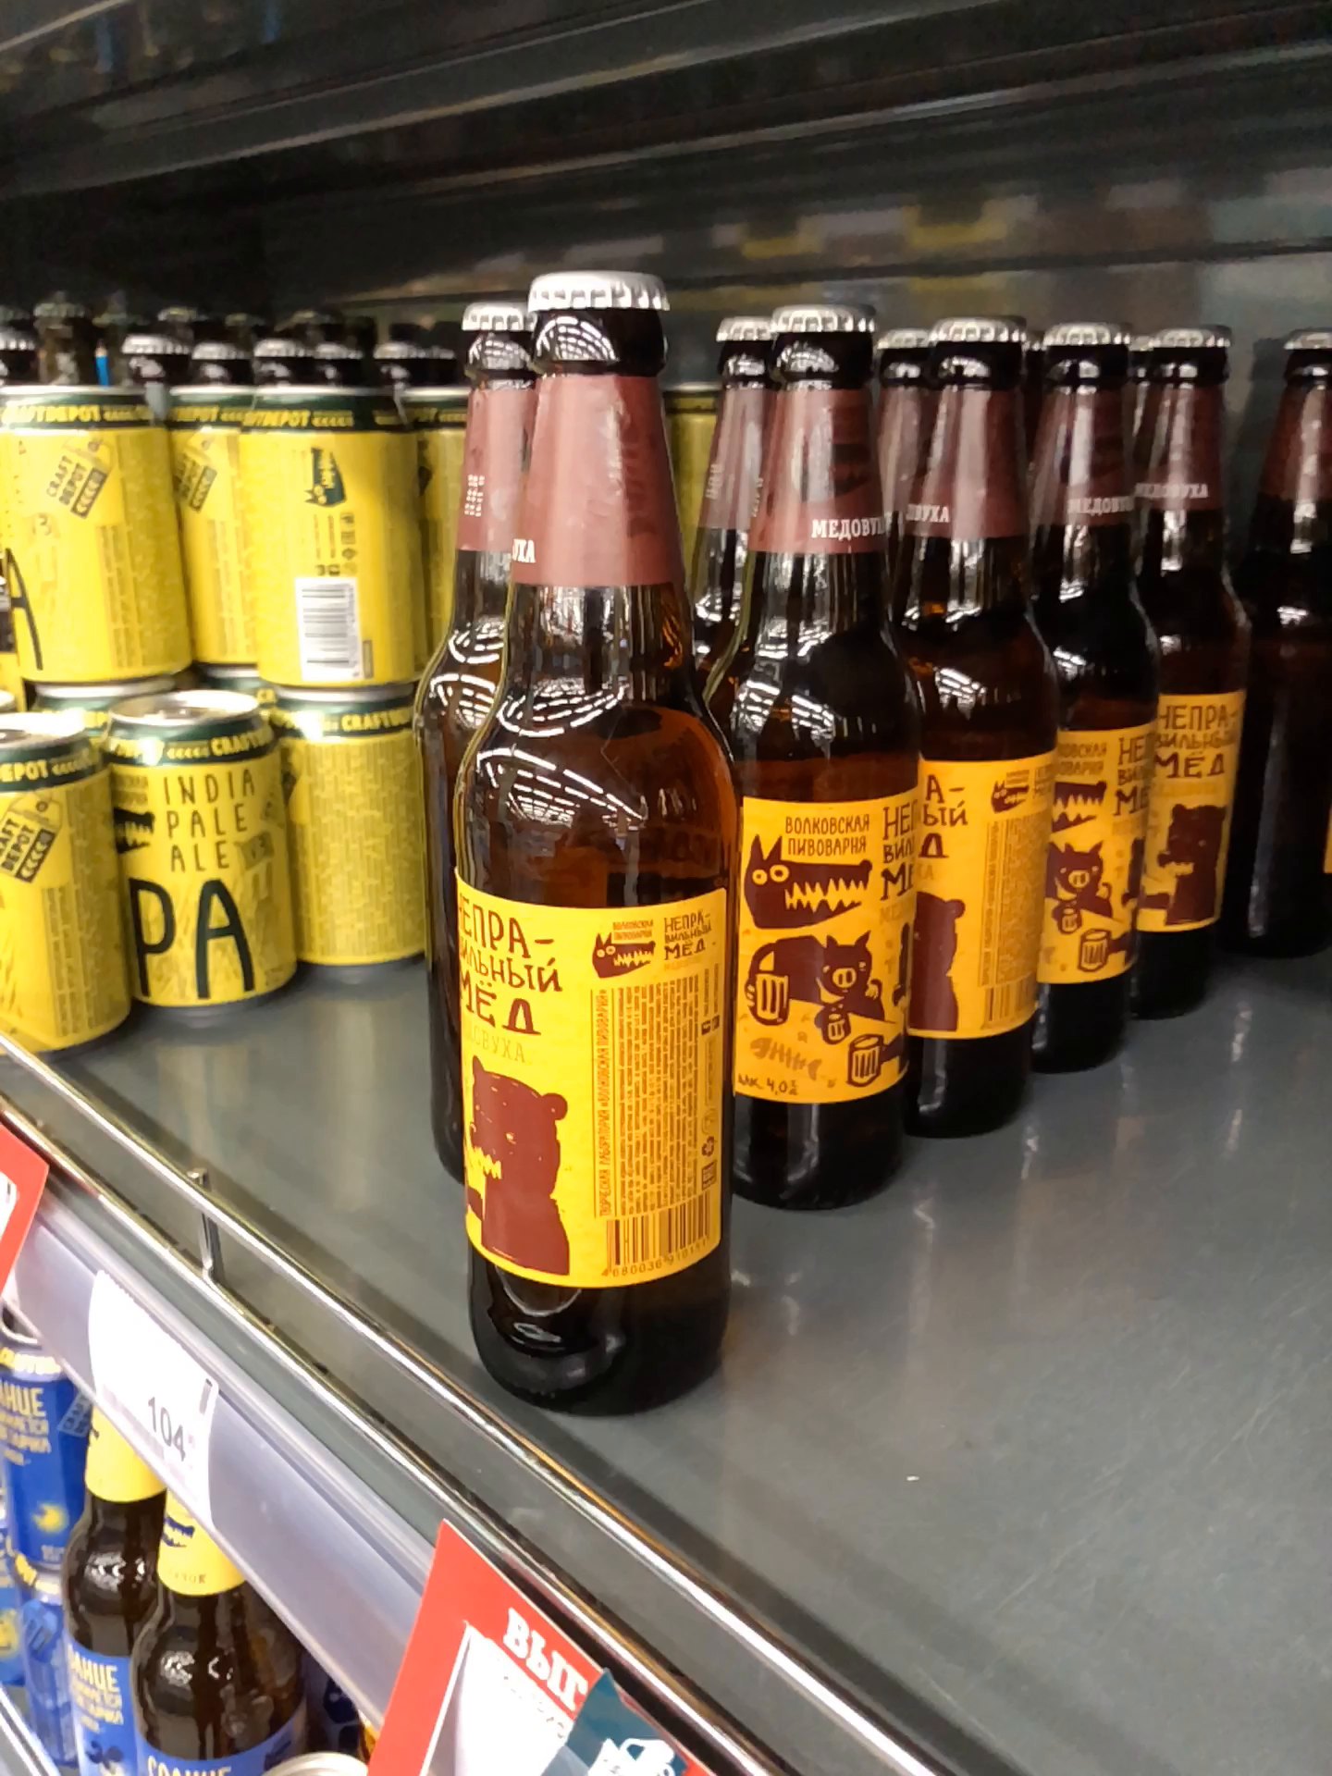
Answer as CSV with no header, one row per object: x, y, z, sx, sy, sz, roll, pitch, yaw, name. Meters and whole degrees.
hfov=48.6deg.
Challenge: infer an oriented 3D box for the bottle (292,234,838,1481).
-0.021,-0.007,0.324,0.080,0.243,0.070,18,25,41,bottle
